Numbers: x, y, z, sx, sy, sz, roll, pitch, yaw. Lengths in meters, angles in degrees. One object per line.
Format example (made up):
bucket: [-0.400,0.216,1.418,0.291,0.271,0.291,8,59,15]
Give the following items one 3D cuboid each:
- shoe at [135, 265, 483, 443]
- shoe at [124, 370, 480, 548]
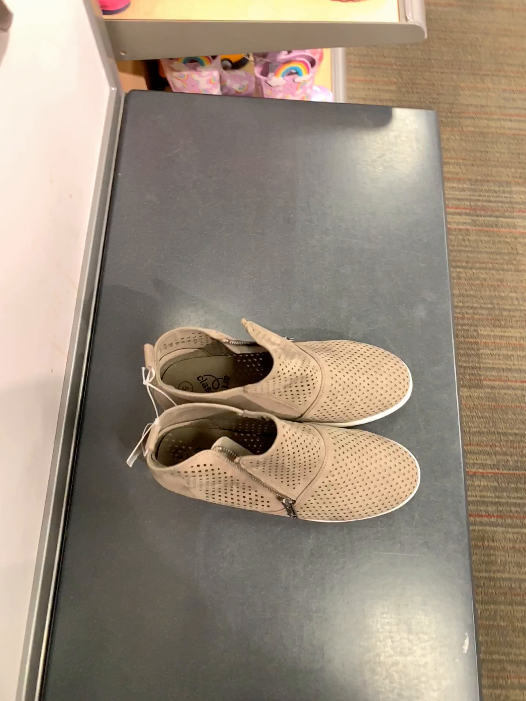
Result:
shoe: [0.030,0.011,0.468,0.250,0.140,0.100,-4,72,-3]
shoe: [0.030,0.097,0.458,0.250,0.140,0.100,6,72,0]
